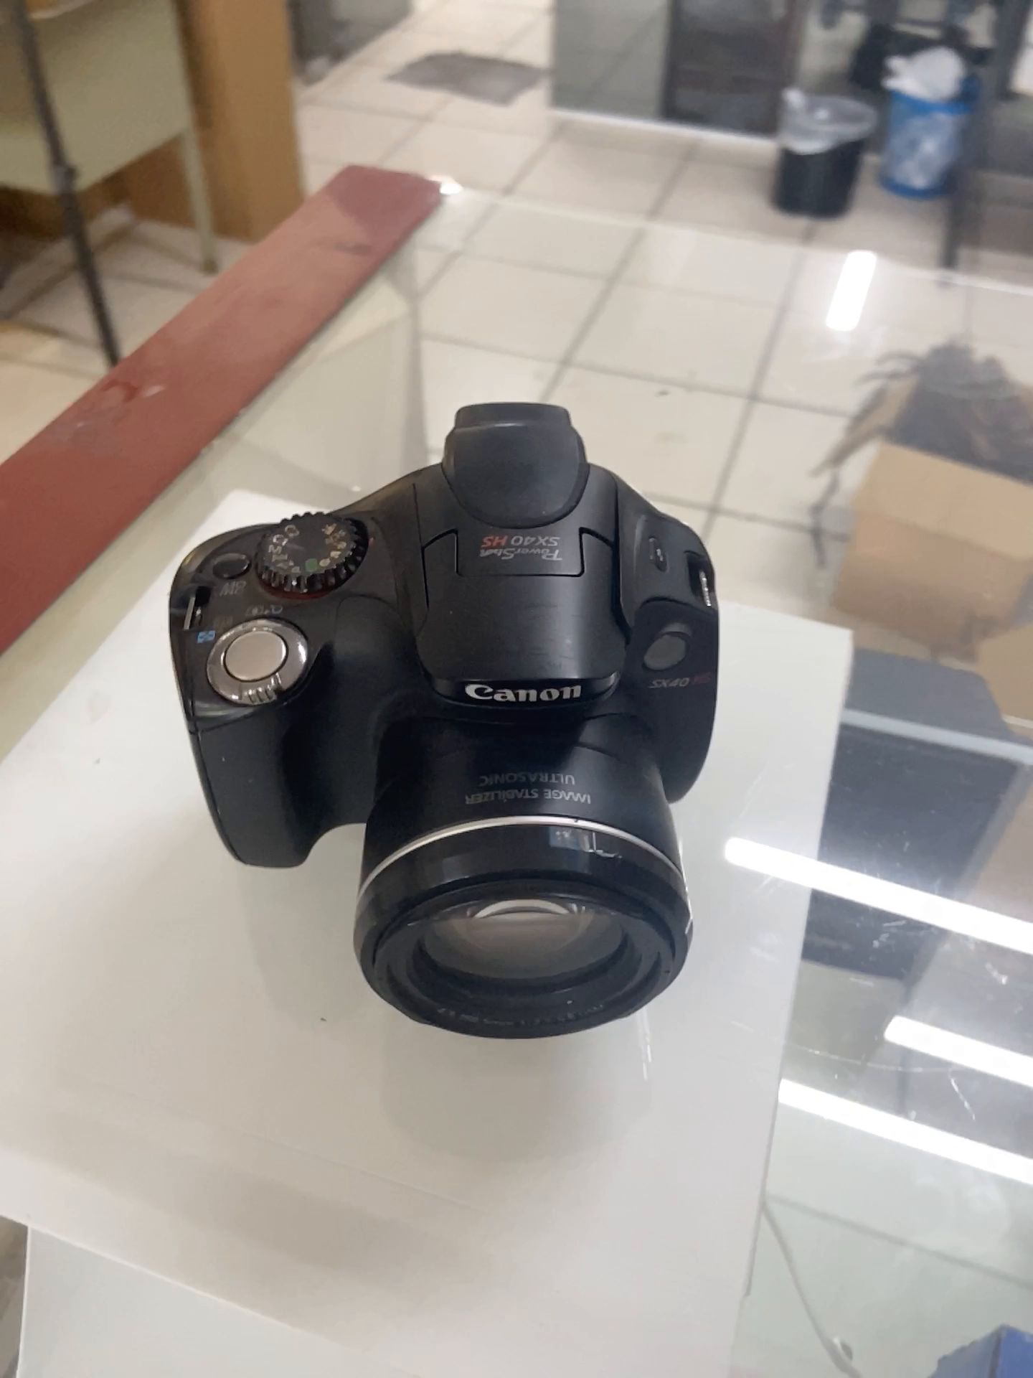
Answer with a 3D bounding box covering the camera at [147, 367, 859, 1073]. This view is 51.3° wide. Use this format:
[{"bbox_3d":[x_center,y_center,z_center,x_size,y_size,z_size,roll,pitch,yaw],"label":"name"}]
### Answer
[{"bbox_3d":[-0.008,0.000,0.261,0.120,0.089,0.141,-3,46,-5],"label":"camera"}]
